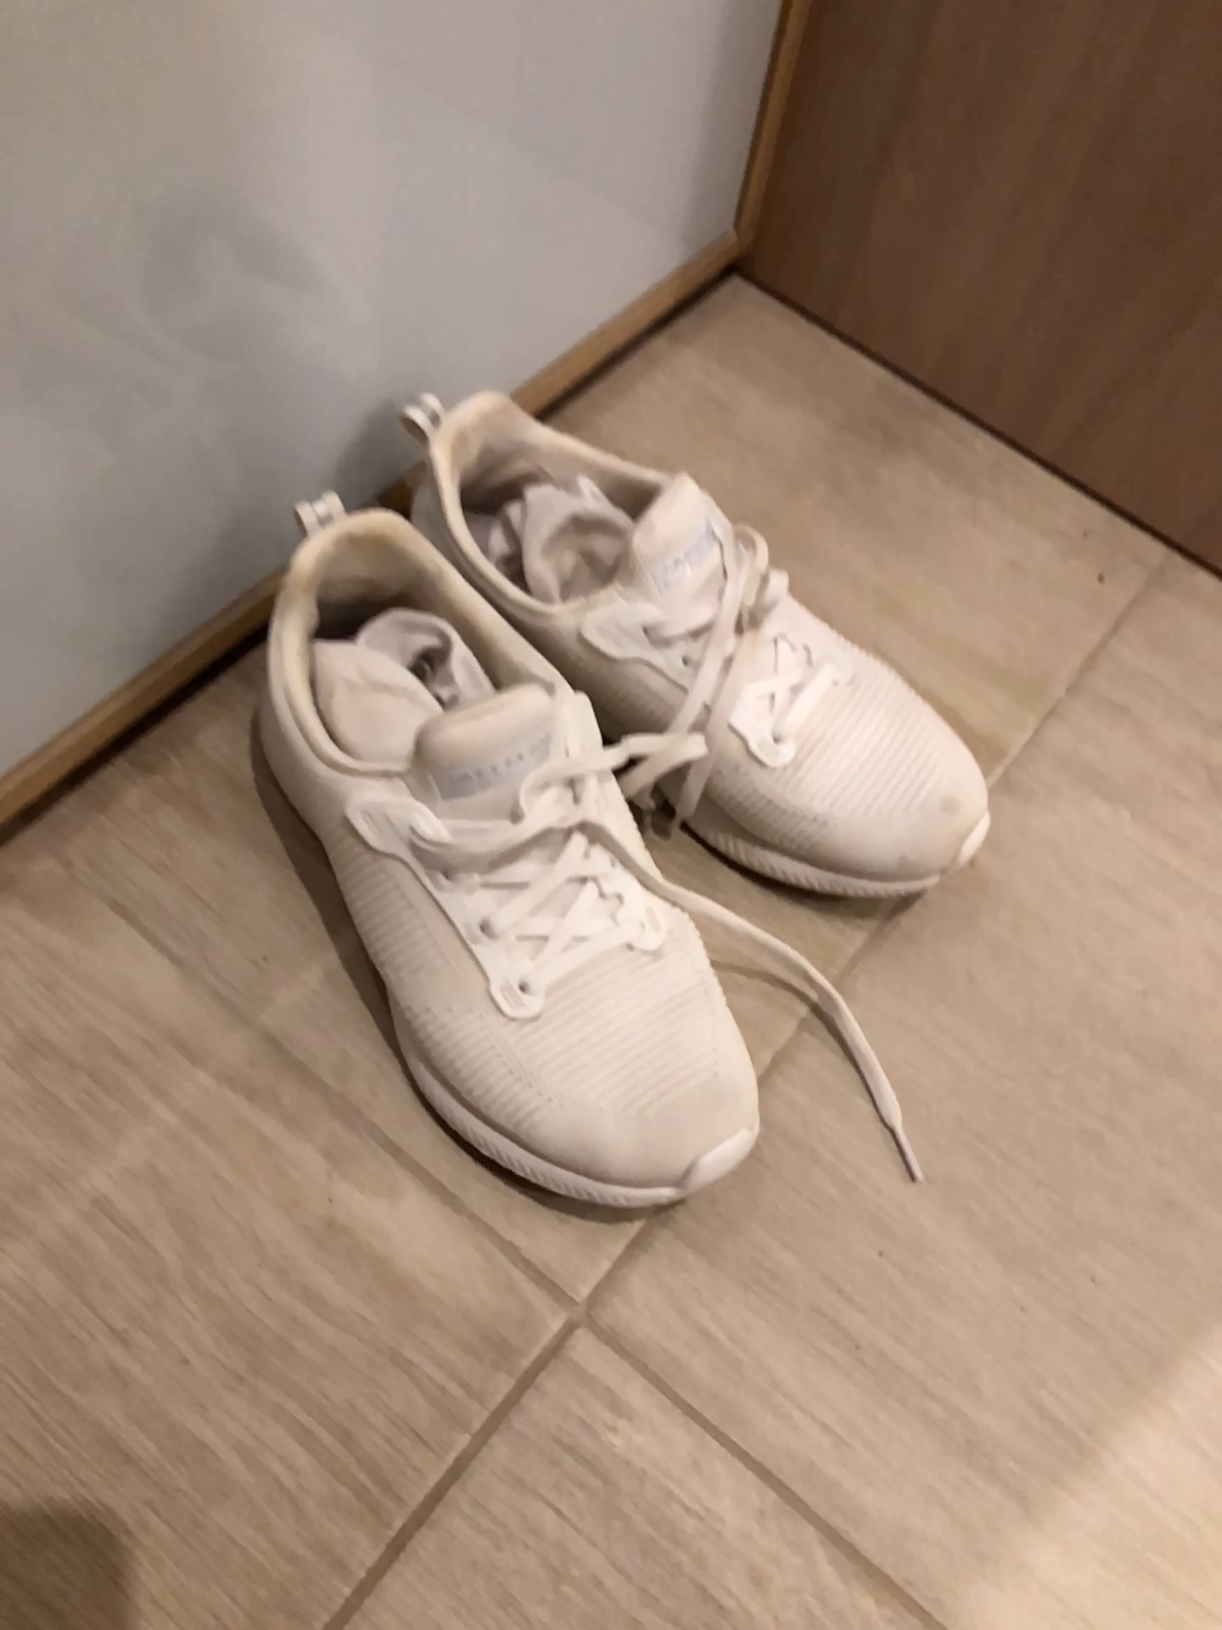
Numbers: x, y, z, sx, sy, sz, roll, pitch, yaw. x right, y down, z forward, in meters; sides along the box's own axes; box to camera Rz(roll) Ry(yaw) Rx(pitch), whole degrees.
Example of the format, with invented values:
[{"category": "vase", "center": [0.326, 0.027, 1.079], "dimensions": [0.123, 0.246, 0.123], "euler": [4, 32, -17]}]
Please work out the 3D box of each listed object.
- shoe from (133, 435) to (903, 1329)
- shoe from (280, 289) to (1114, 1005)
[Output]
[{"category": "shoe", "center": [-0.043, 0.016, 0.464], "dimensions": [0.110, 0.109, 0.271], "euler": [-28, 67, -22]}, {"category": "shoe", "center": [0.024, -0.066, 0.520], "dimensions": [0.280, 0.109, 0.110], "euler": [32, 61, 11]}]
